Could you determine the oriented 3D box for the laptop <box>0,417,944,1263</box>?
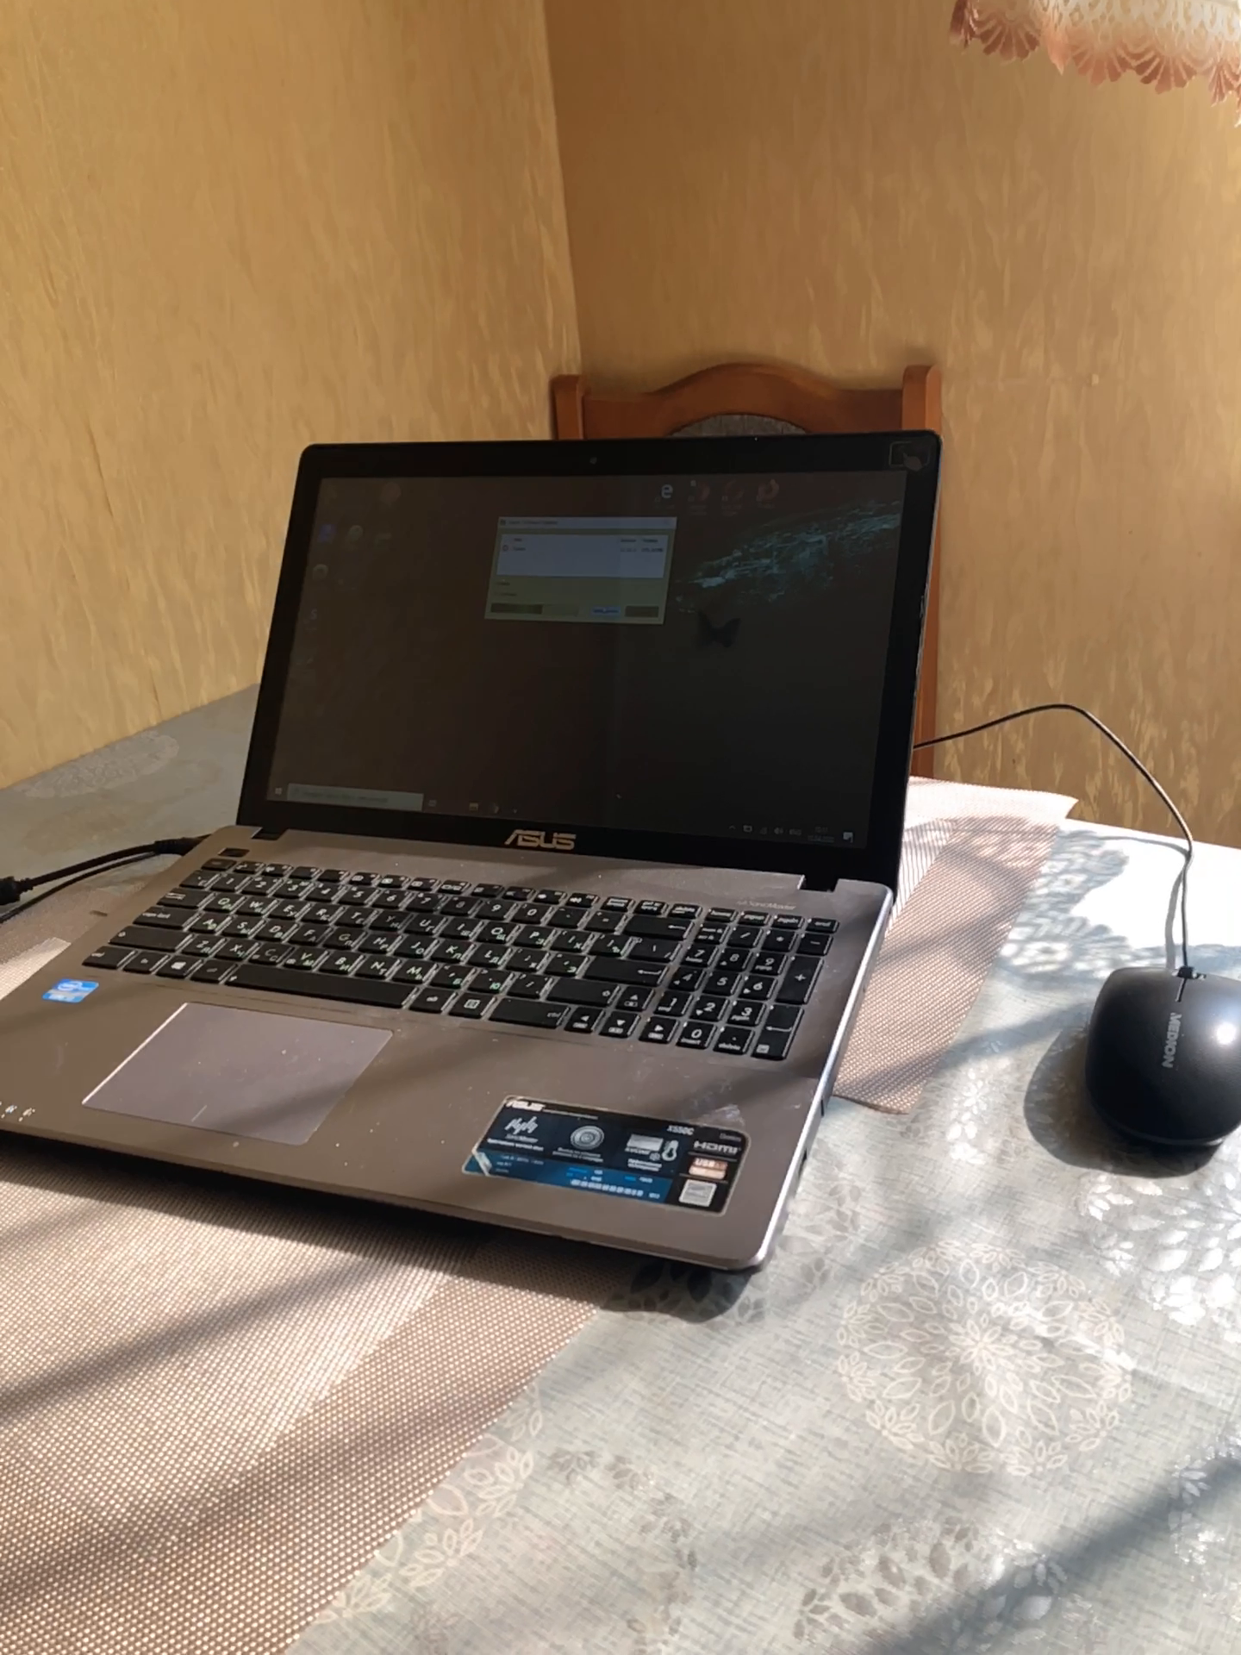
[{"bbox_3d":[-0.072,-0.048,0.632,0.378,0.183,0.399,5,29,20],"label":"laptop"}]
